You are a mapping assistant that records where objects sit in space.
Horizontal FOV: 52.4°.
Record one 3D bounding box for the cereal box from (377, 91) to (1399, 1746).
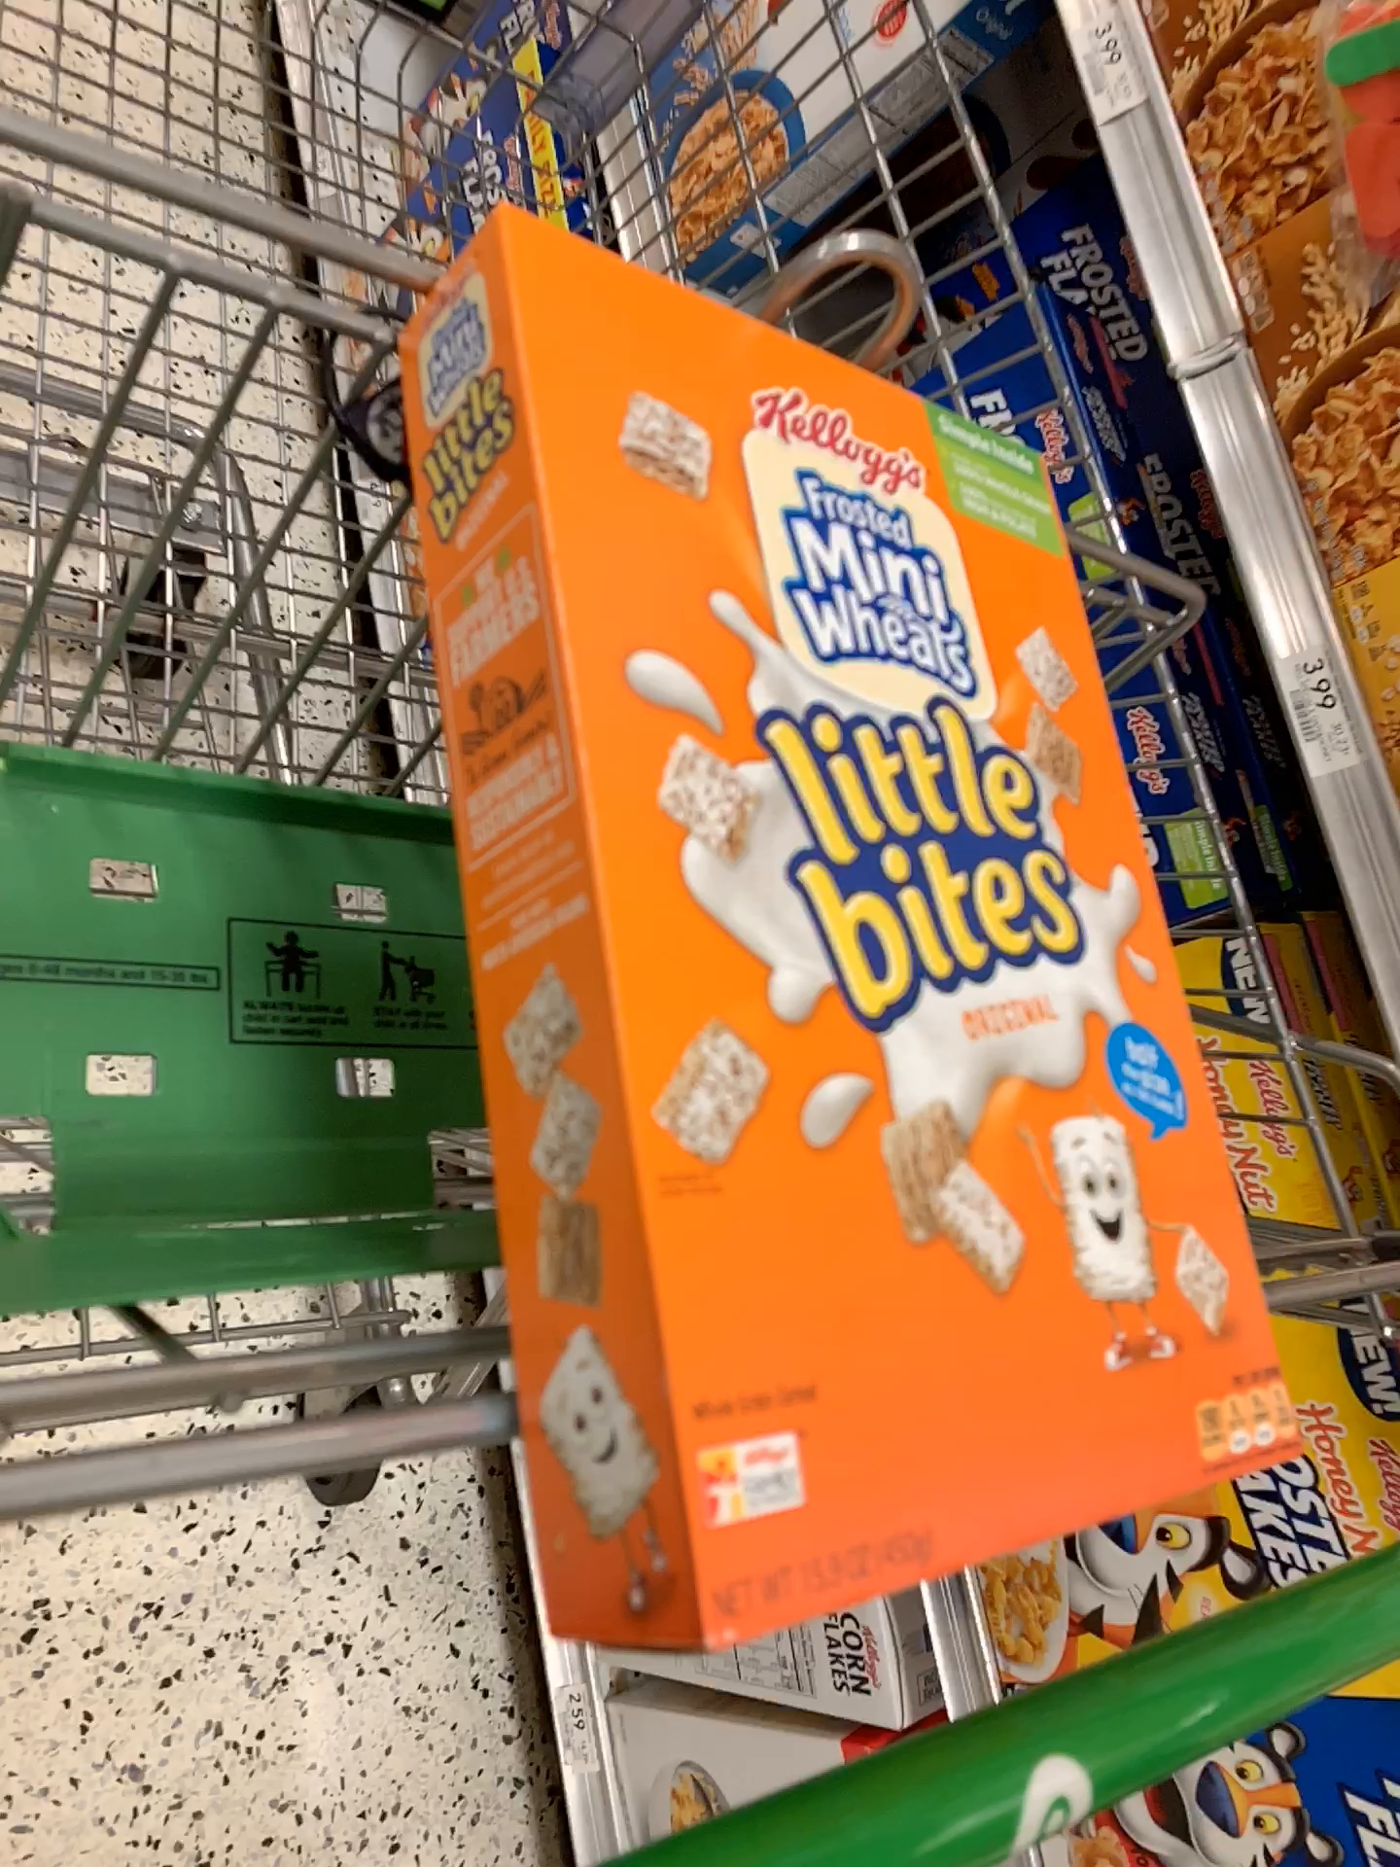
[{"bbox_3d":[0.046,-0.014,0.347,0.211,0.059,0.321,6,66,-40],"label":"cereal box"}]
